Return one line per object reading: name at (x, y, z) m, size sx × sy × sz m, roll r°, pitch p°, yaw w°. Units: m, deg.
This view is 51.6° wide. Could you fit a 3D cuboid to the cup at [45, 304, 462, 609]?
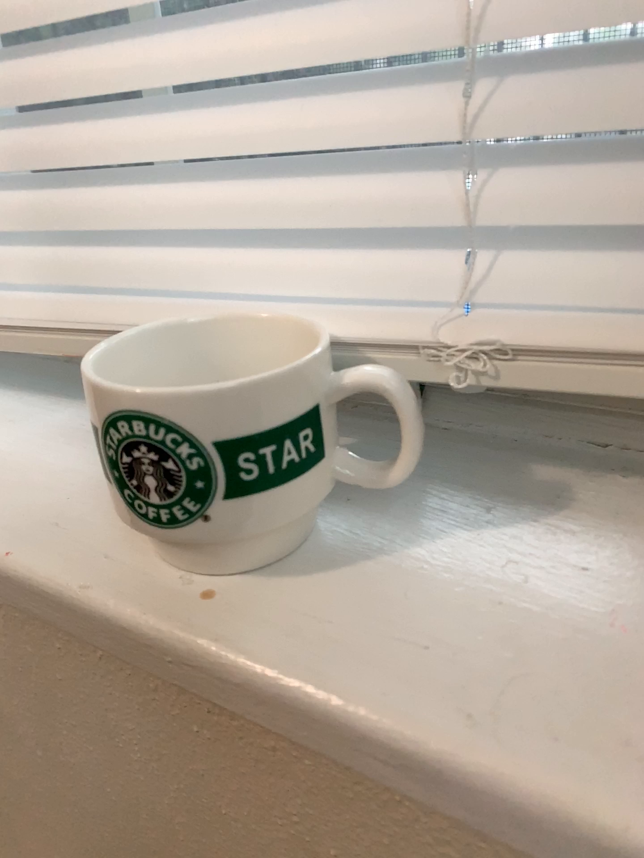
cup at (-0.011, 0.002, 0.199) m, size 0.100 × 0.060 × 0.070 m, roll 2°, pitch 25°, yaw 13°
